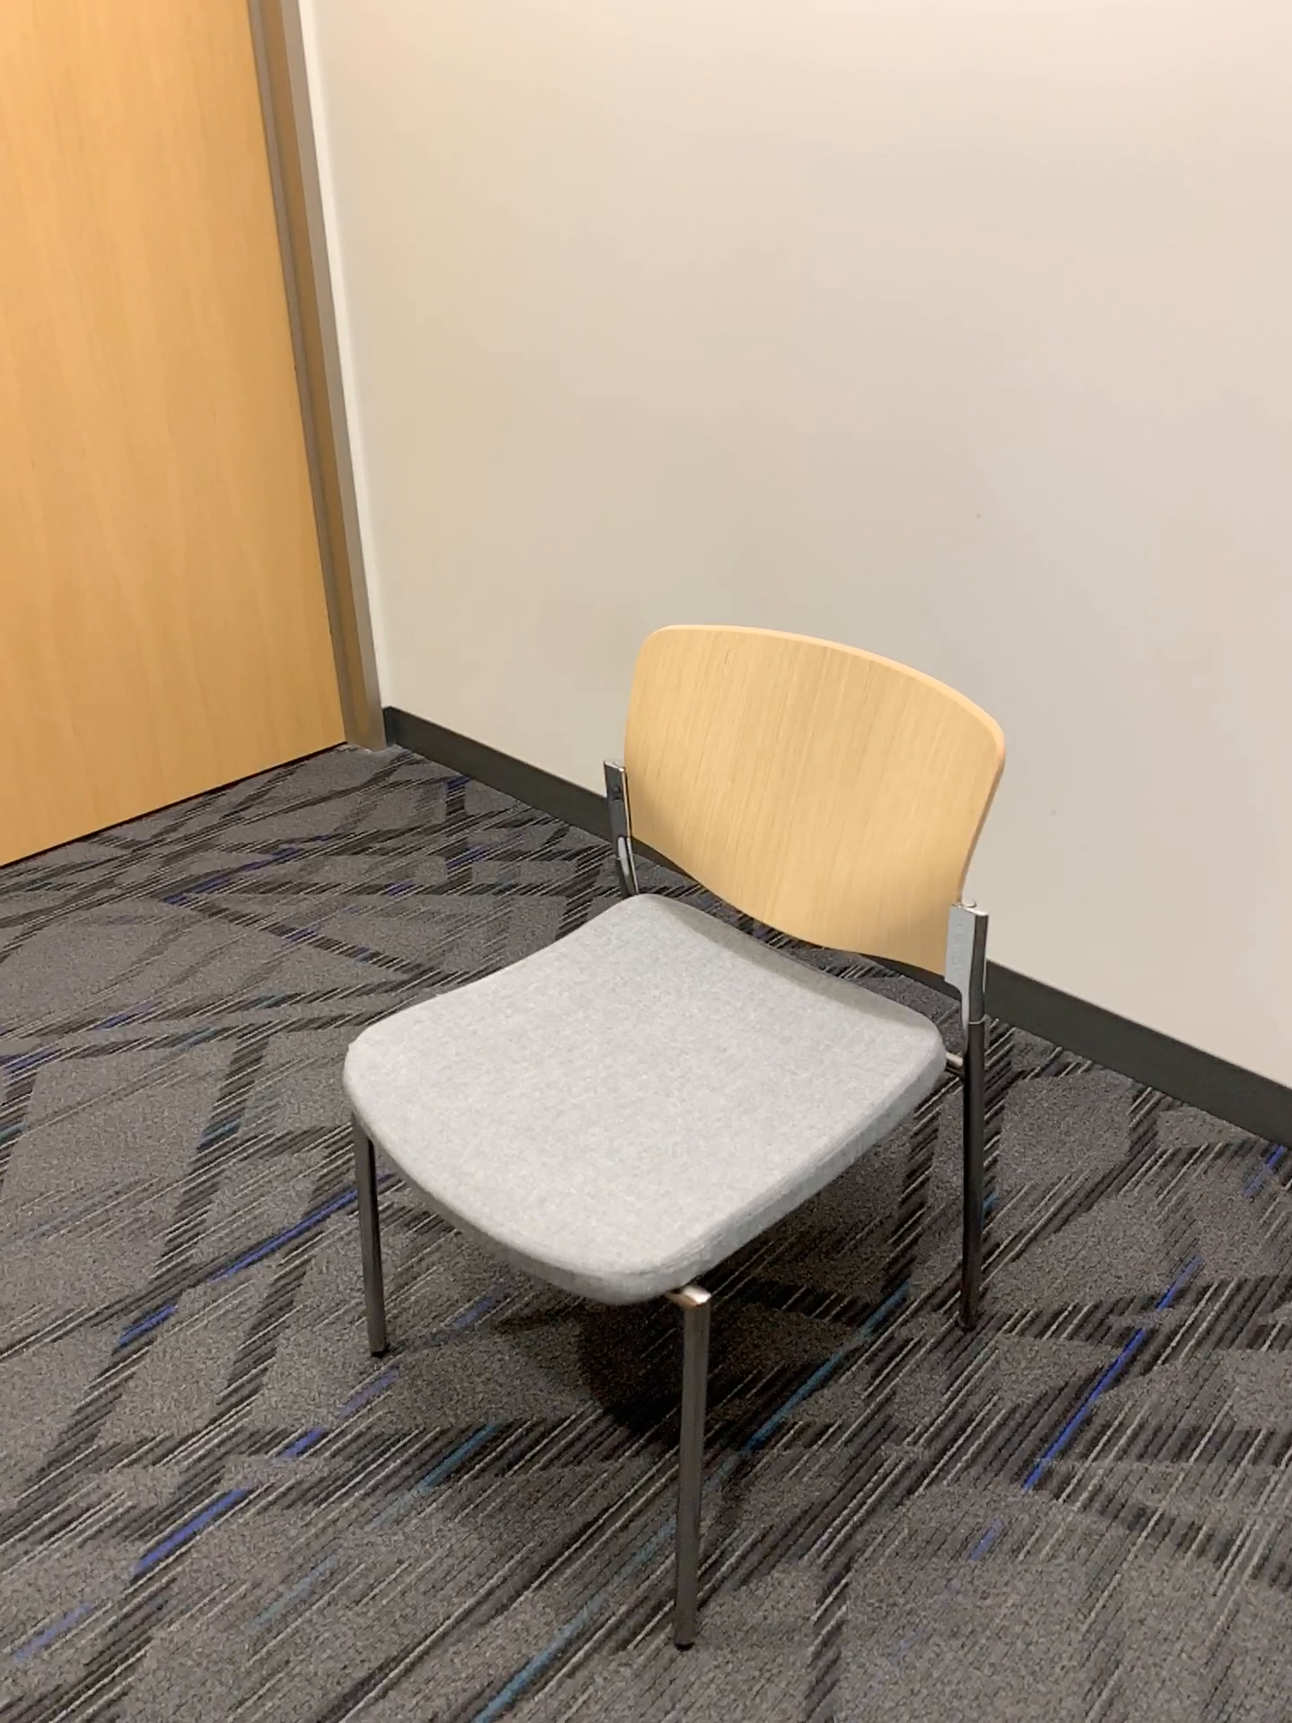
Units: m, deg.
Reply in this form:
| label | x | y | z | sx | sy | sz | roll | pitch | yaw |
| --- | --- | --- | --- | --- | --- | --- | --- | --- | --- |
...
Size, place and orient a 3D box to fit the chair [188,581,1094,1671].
| label | x | y | z | sx | sy | sz | roll | pitch | yaw |
| --- | --- | --- | --- | --- | --- | --- | --- | --- | --- |
| chair | 0.004 | 0.186 | 1.284 | 0.556 | 0.704 | 0.537 | 23 | 37 | 38 |
